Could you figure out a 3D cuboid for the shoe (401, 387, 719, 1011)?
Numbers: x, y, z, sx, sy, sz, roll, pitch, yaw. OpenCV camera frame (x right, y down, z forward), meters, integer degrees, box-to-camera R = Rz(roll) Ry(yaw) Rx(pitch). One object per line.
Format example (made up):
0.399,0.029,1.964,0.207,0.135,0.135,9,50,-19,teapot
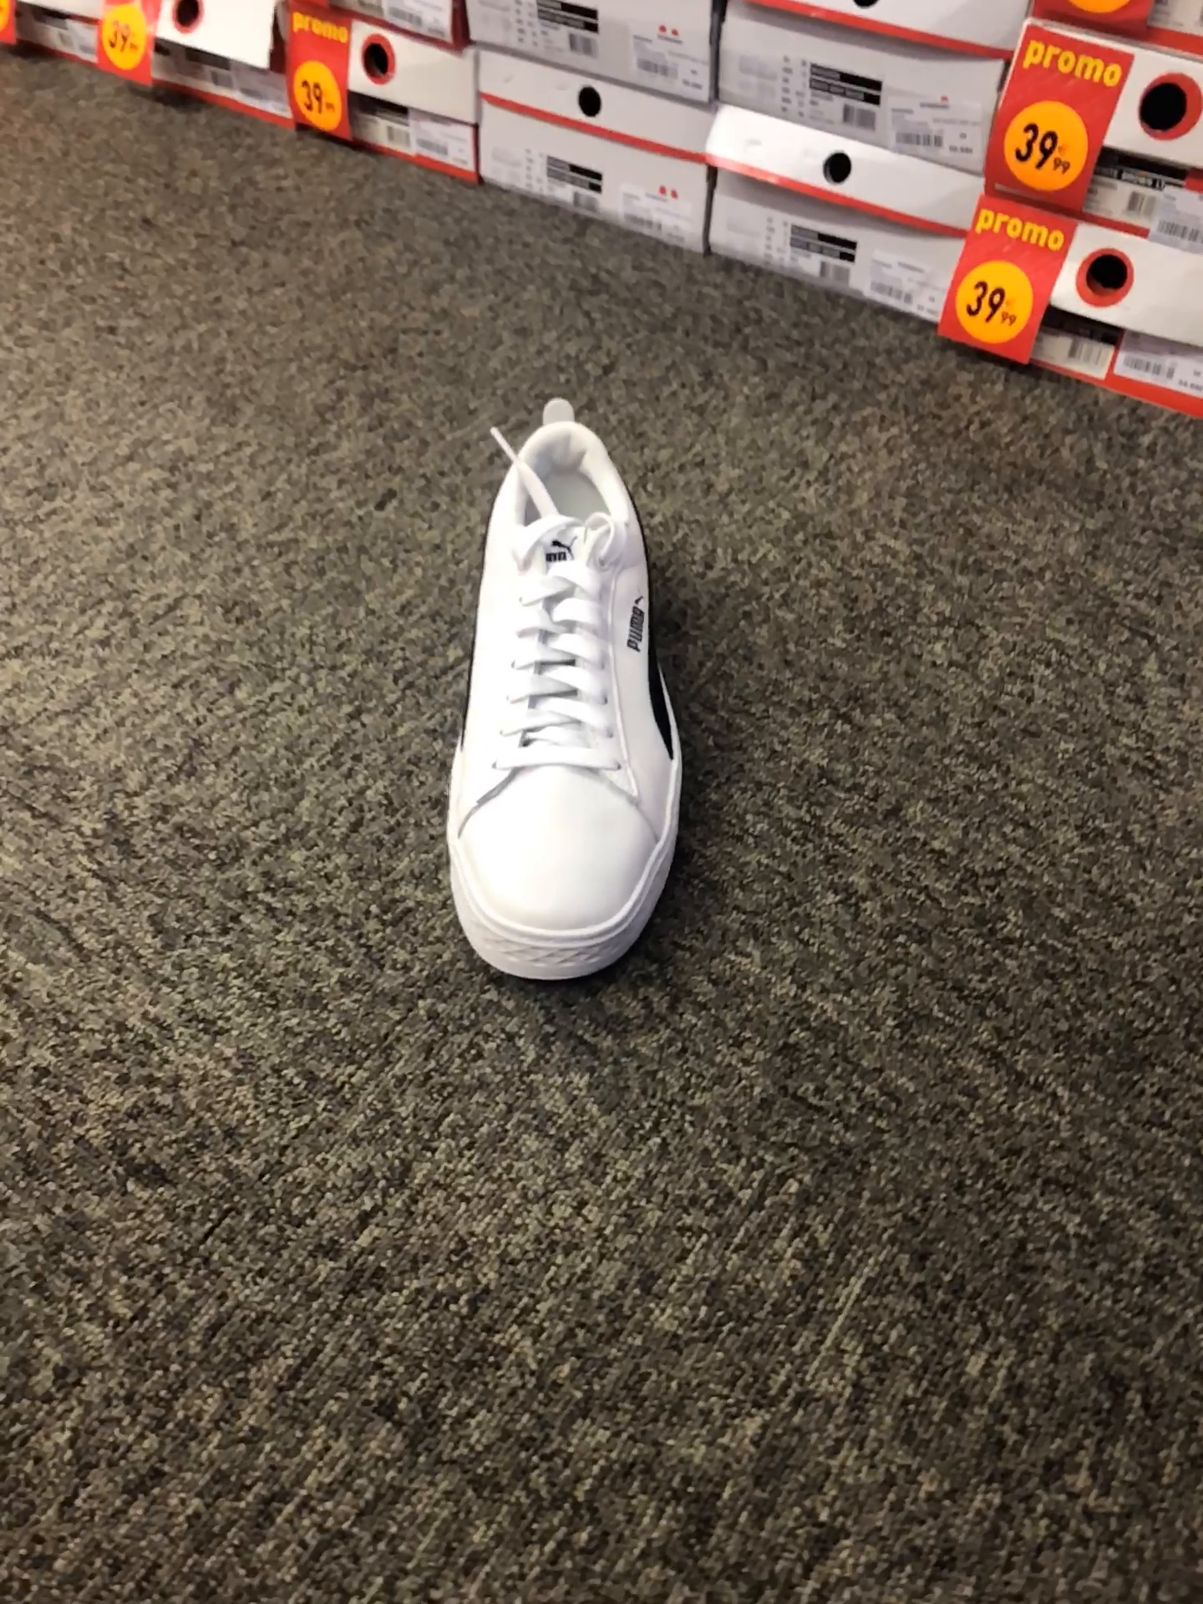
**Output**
-0.007,-0.060,0.586,0.110,0.089,0.292,3,50,1,shoe
